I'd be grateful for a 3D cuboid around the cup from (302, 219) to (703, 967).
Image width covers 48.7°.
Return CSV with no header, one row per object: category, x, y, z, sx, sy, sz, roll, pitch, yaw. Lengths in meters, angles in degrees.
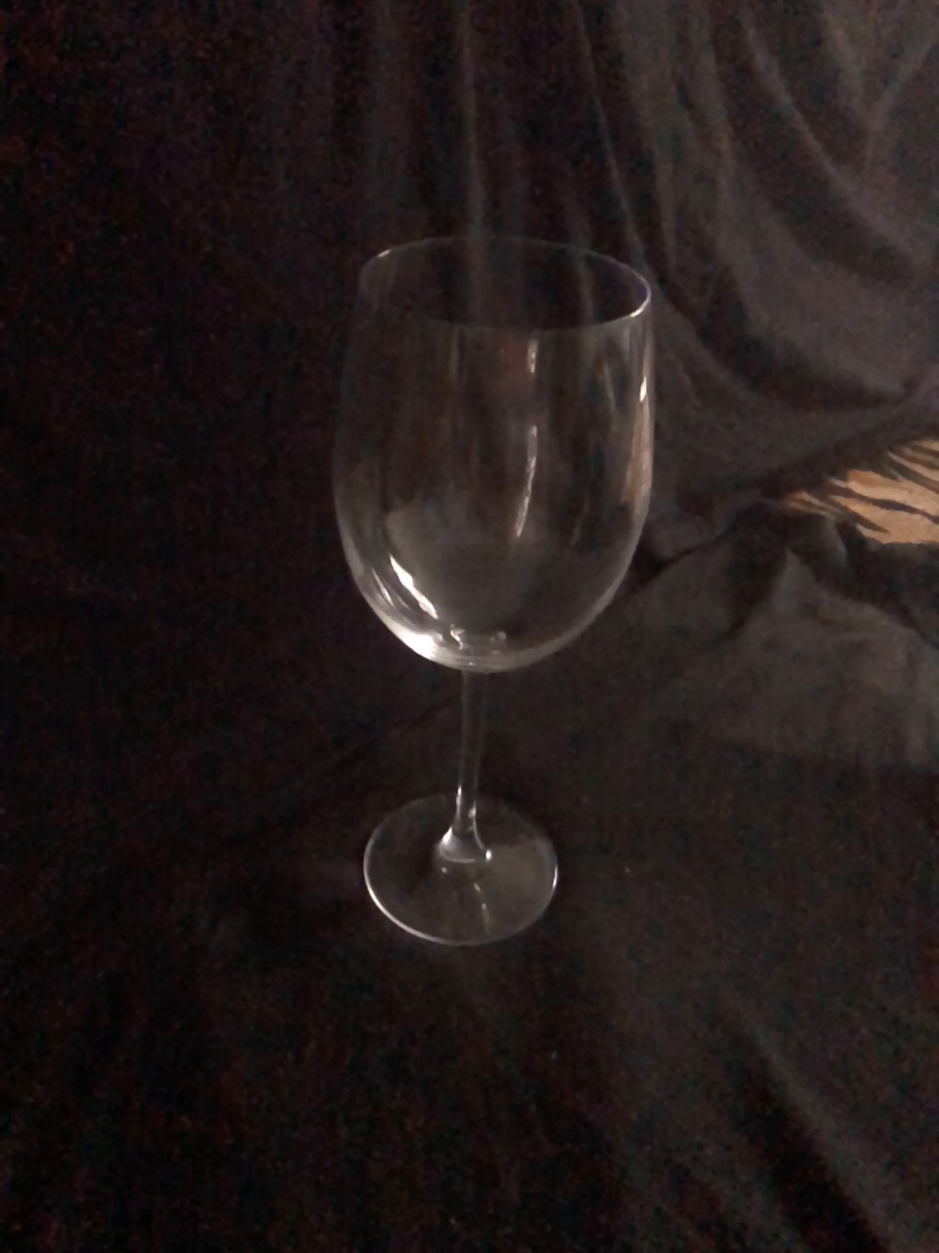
cup,0.003,0.003,0.388,0.103,0.266,0.101,3,39,-2
